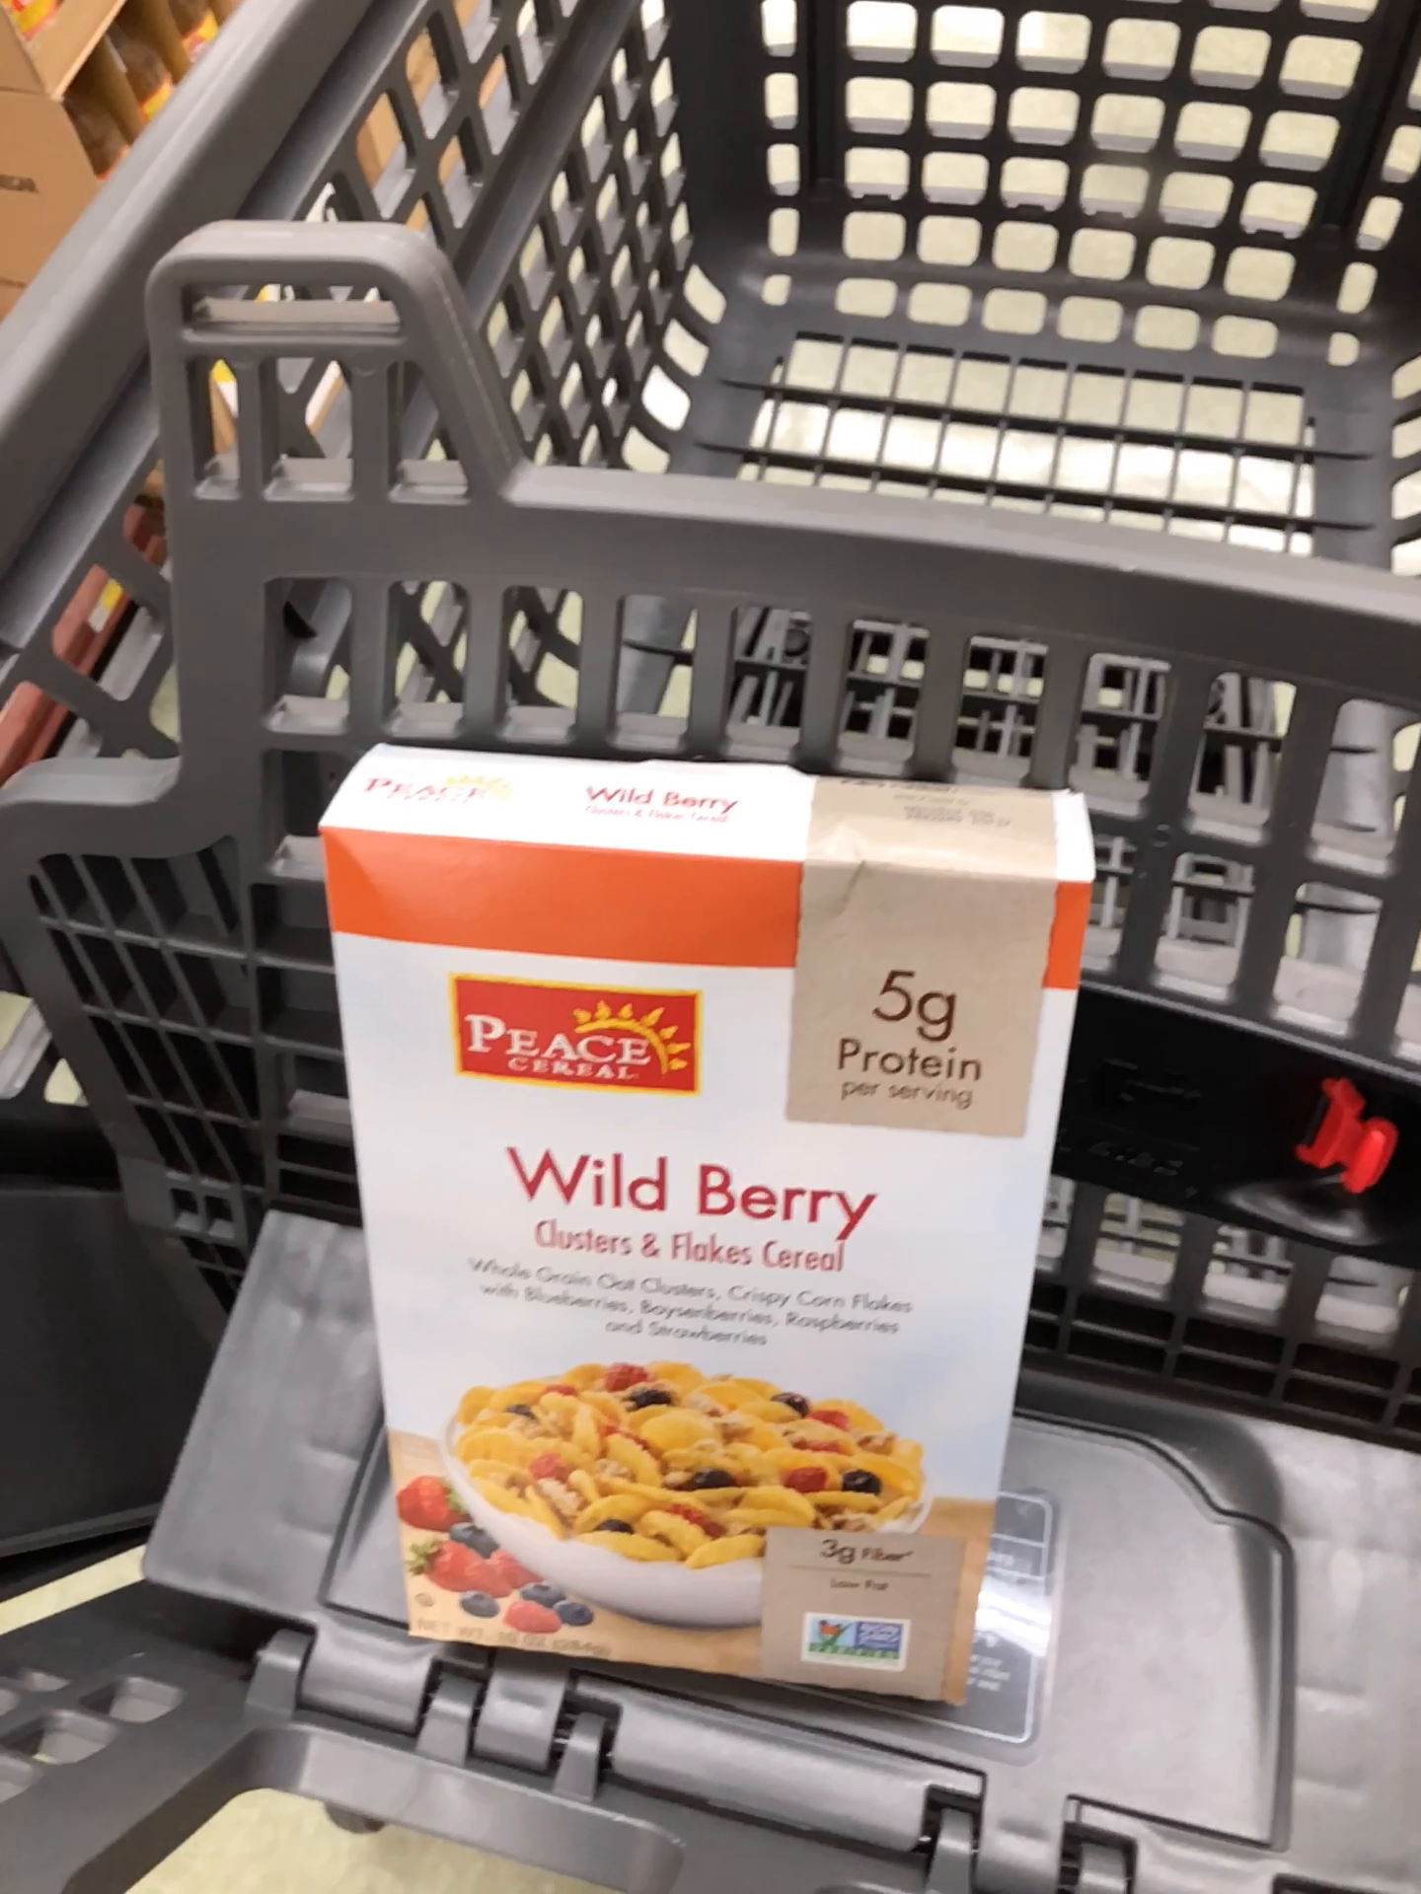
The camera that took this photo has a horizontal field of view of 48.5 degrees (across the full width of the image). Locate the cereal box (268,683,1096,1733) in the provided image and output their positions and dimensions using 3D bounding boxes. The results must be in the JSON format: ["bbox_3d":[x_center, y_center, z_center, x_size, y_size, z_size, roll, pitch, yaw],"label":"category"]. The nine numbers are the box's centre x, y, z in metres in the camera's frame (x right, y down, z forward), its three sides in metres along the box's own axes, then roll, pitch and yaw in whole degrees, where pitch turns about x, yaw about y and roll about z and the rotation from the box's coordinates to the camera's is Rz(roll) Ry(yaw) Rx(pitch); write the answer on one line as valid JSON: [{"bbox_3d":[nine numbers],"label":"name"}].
[{"bbox_3d":[-0.005,0.073,0.389,0.160,0.260,0.060,4,29,6],"label":"cereal box"}]
